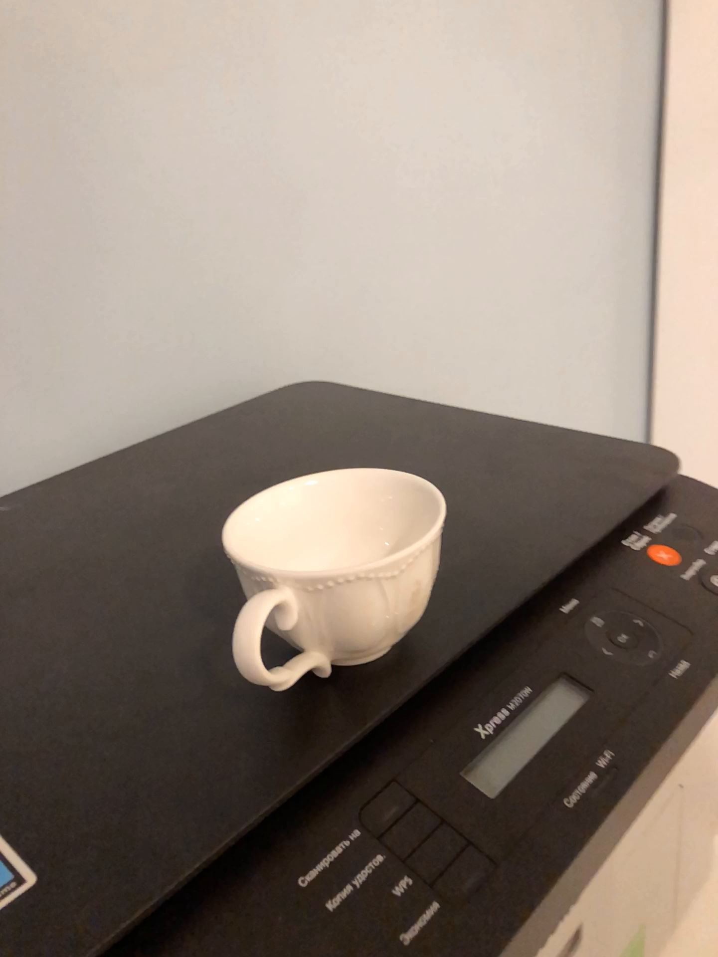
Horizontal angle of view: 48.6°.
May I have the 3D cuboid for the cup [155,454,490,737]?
[{"bbox_3d":[-0.005,0.031,0.269,0.076,0.044,0.094,4,24,23],"label":"cup"}]
